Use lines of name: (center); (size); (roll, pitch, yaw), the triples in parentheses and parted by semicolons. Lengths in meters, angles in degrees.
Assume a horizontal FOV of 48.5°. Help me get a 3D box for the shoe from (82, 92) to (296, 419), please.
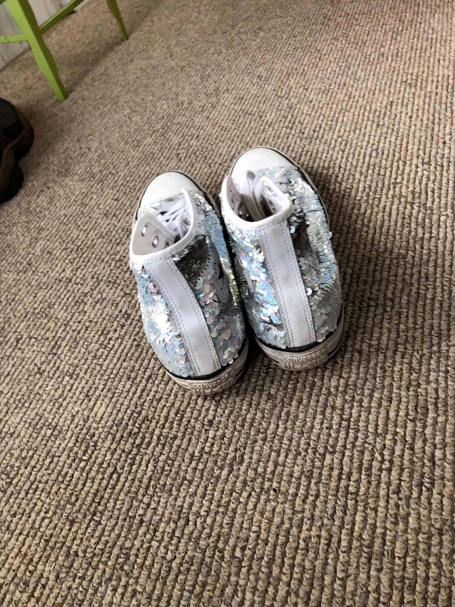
shoe: (-0.044, -0.059, 0.457); (0.111, 0.137, 0.265); (-19, 45, -2)

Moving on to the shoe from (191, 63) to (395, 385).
shoe: (0.046, -0.084, 0.445); (0.111, 0.127, 0.265); (-13, 45, 4)
